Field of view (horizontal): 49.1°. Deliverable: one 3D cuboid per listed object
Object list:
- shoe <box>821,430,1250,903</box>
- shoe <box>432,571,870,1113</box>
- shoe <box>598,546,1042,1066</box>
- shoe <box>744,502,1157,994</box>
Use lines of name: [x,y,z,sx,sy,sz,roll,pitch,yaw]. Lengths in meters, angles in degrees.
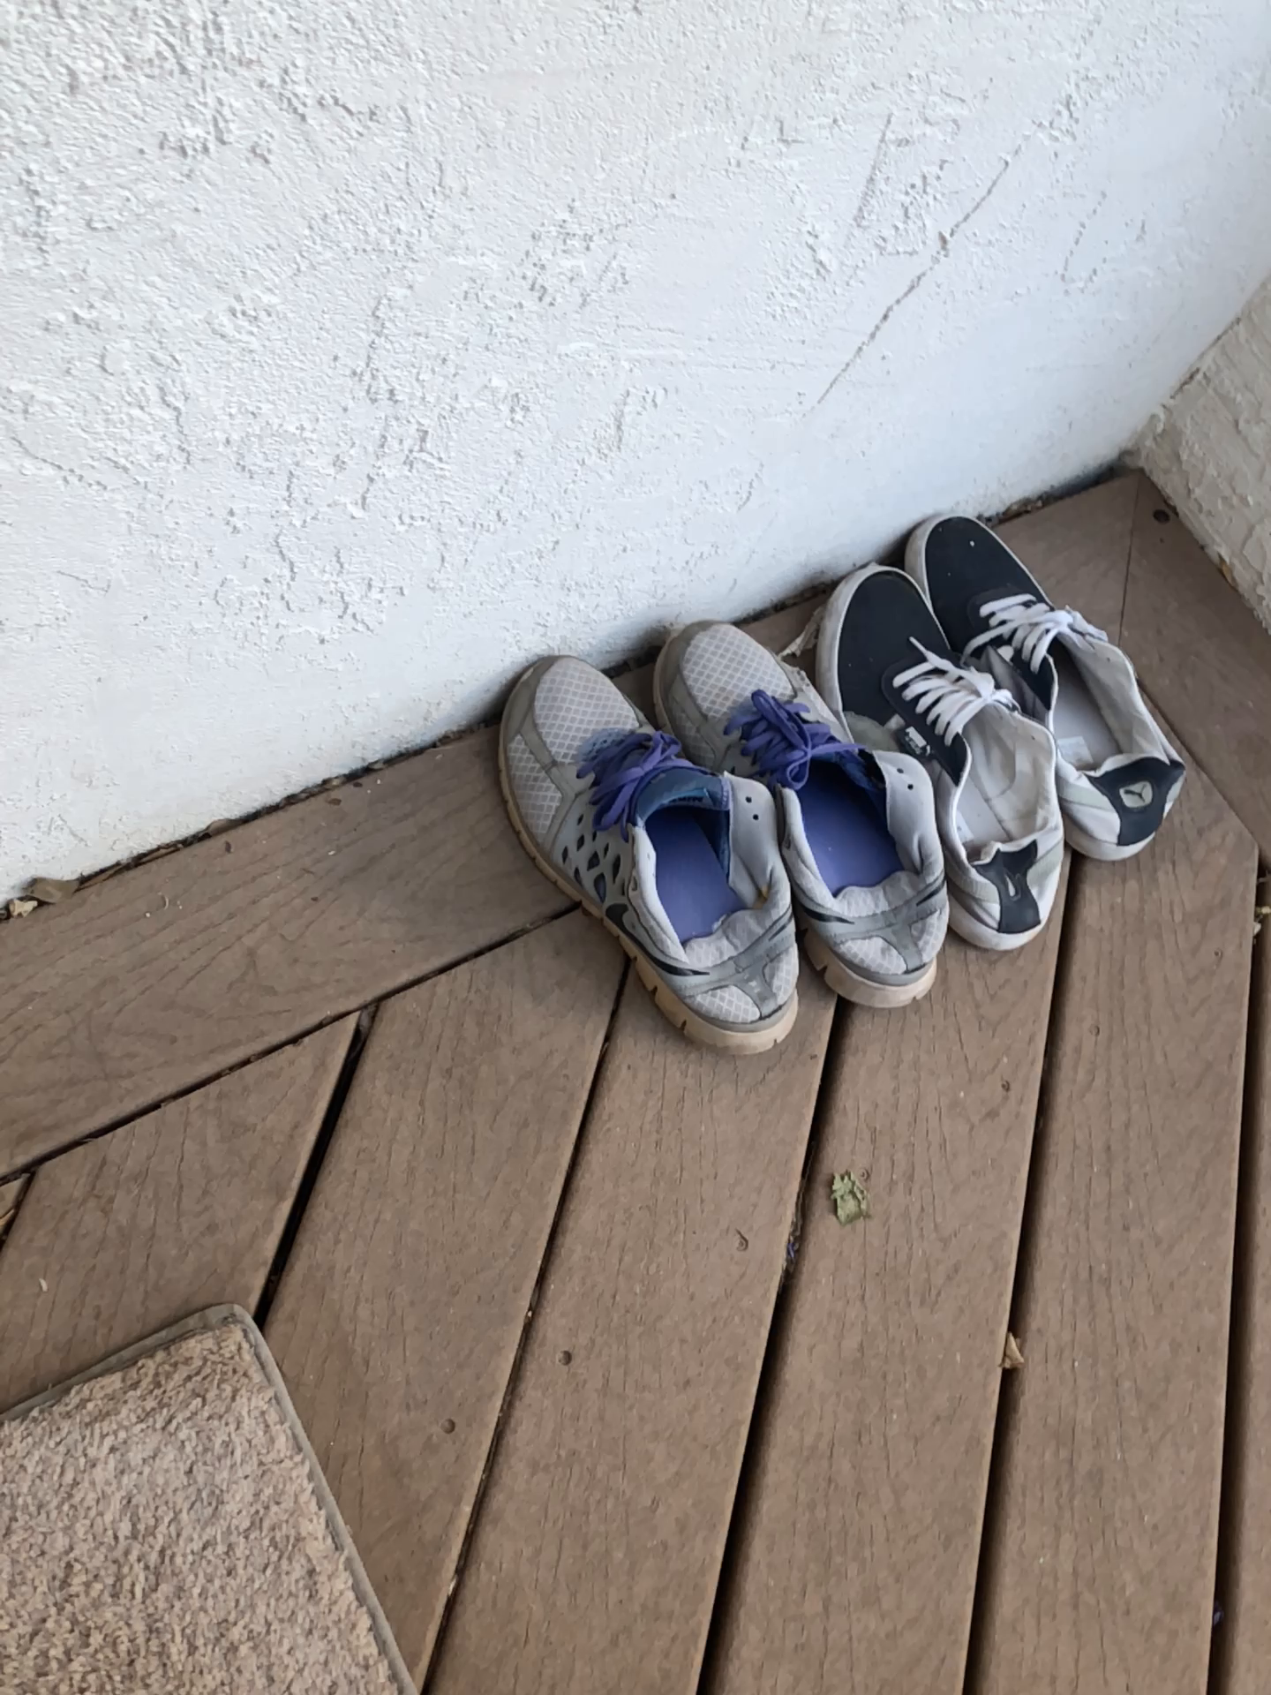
shoe: [0.289,-0.139,1.042,0.120,0.100,0.330,-24,73,-22]
shoe: [0.000,-0.008,0.902,0.120,0.100,0.320,-25,73,-22]
shoe: [0.114,-0.032,0.938,0.120,0.100,0.320,-25,73,-22]
shoe: [0.212,-0.075,0.987,0.120,0.100,0.320,-19,71,-20]
